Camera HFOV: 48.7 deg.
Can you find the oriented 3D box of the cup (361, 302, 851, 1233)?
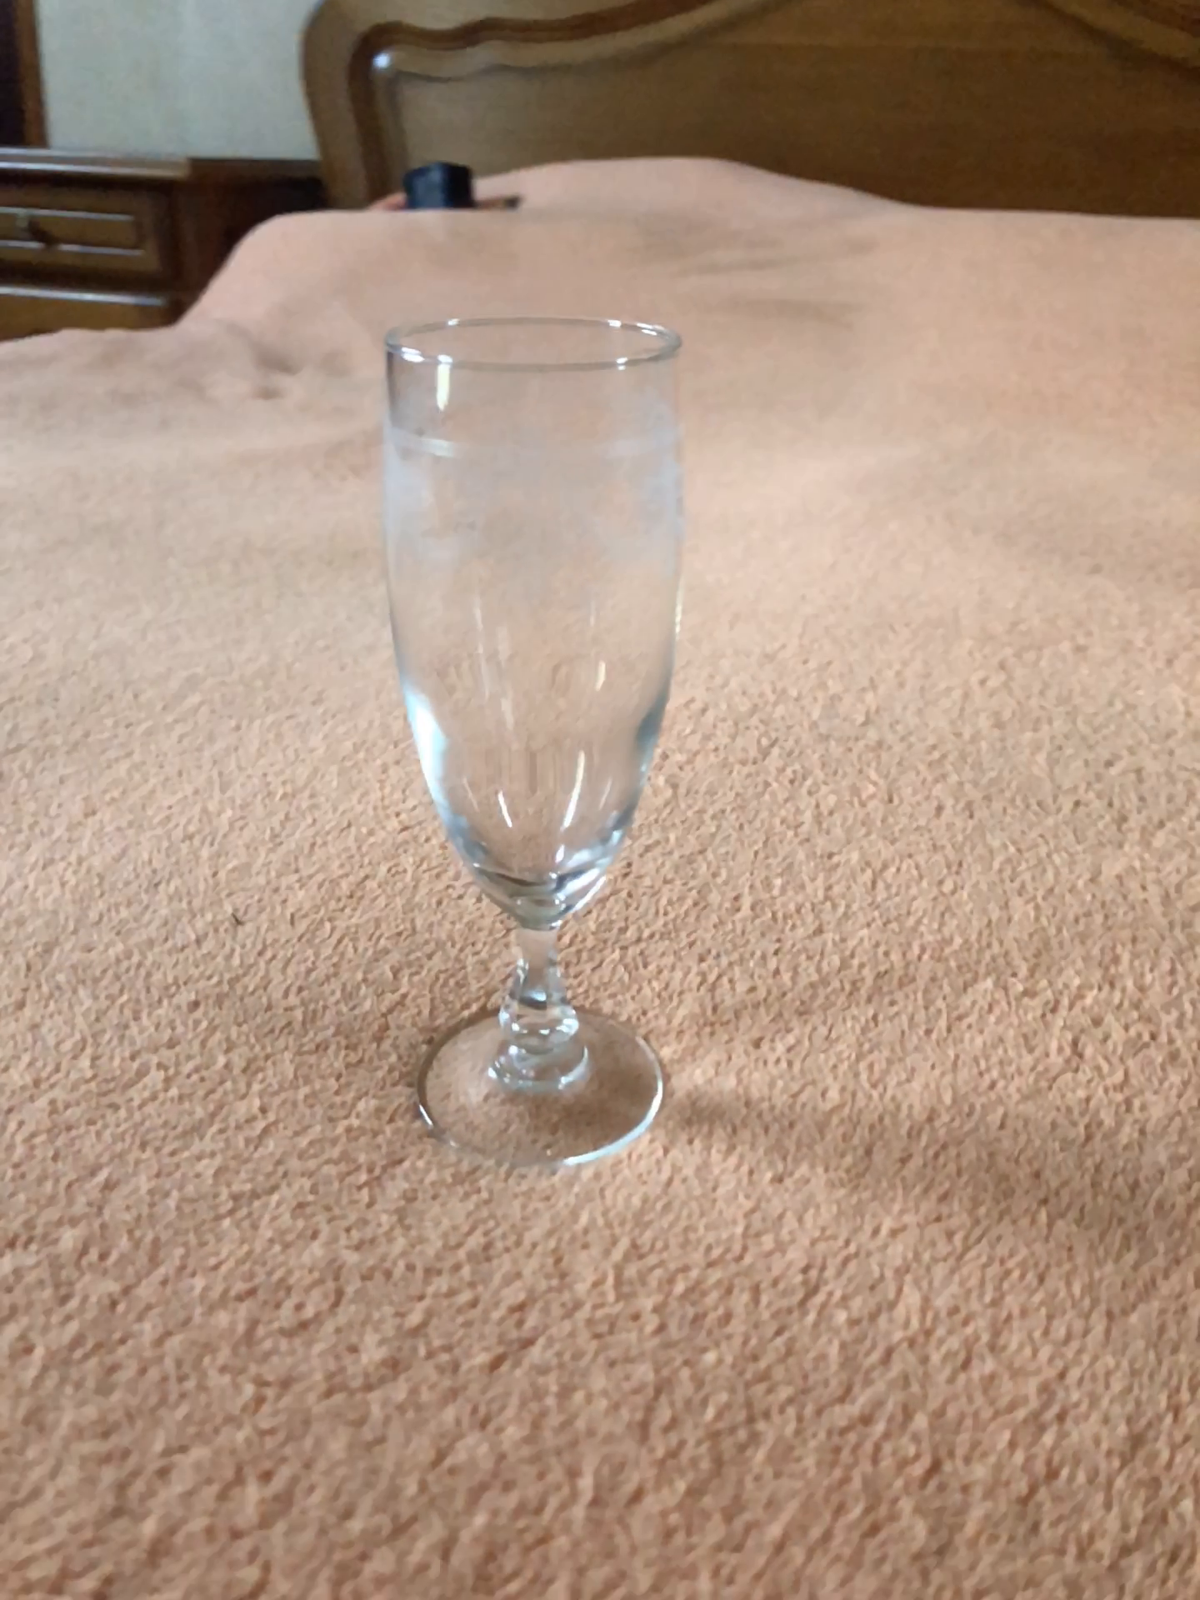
[{"bbox_3d":[-0.004,-0.008,0.254,0.060,0.159,0.060,2,25,-1],"label":"cup"}]
